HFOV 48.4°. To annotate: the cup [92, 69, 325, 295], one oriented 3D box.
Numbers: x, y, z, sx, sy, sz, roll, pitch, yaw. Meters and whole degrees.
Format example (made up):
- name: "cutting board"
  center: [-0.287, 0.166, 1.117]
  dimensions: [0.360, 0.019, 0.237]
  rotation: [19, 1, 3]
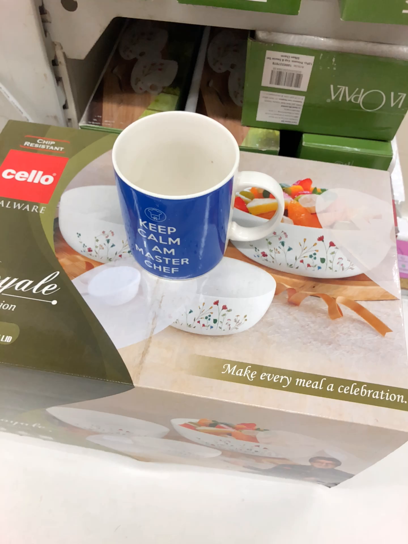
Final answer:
- name: "cup"
  center: [0.007, -0.067, 0.345]
  dimensions: [0.140, 0.099, 0.111]
  rotation: [10, 57, 3]
